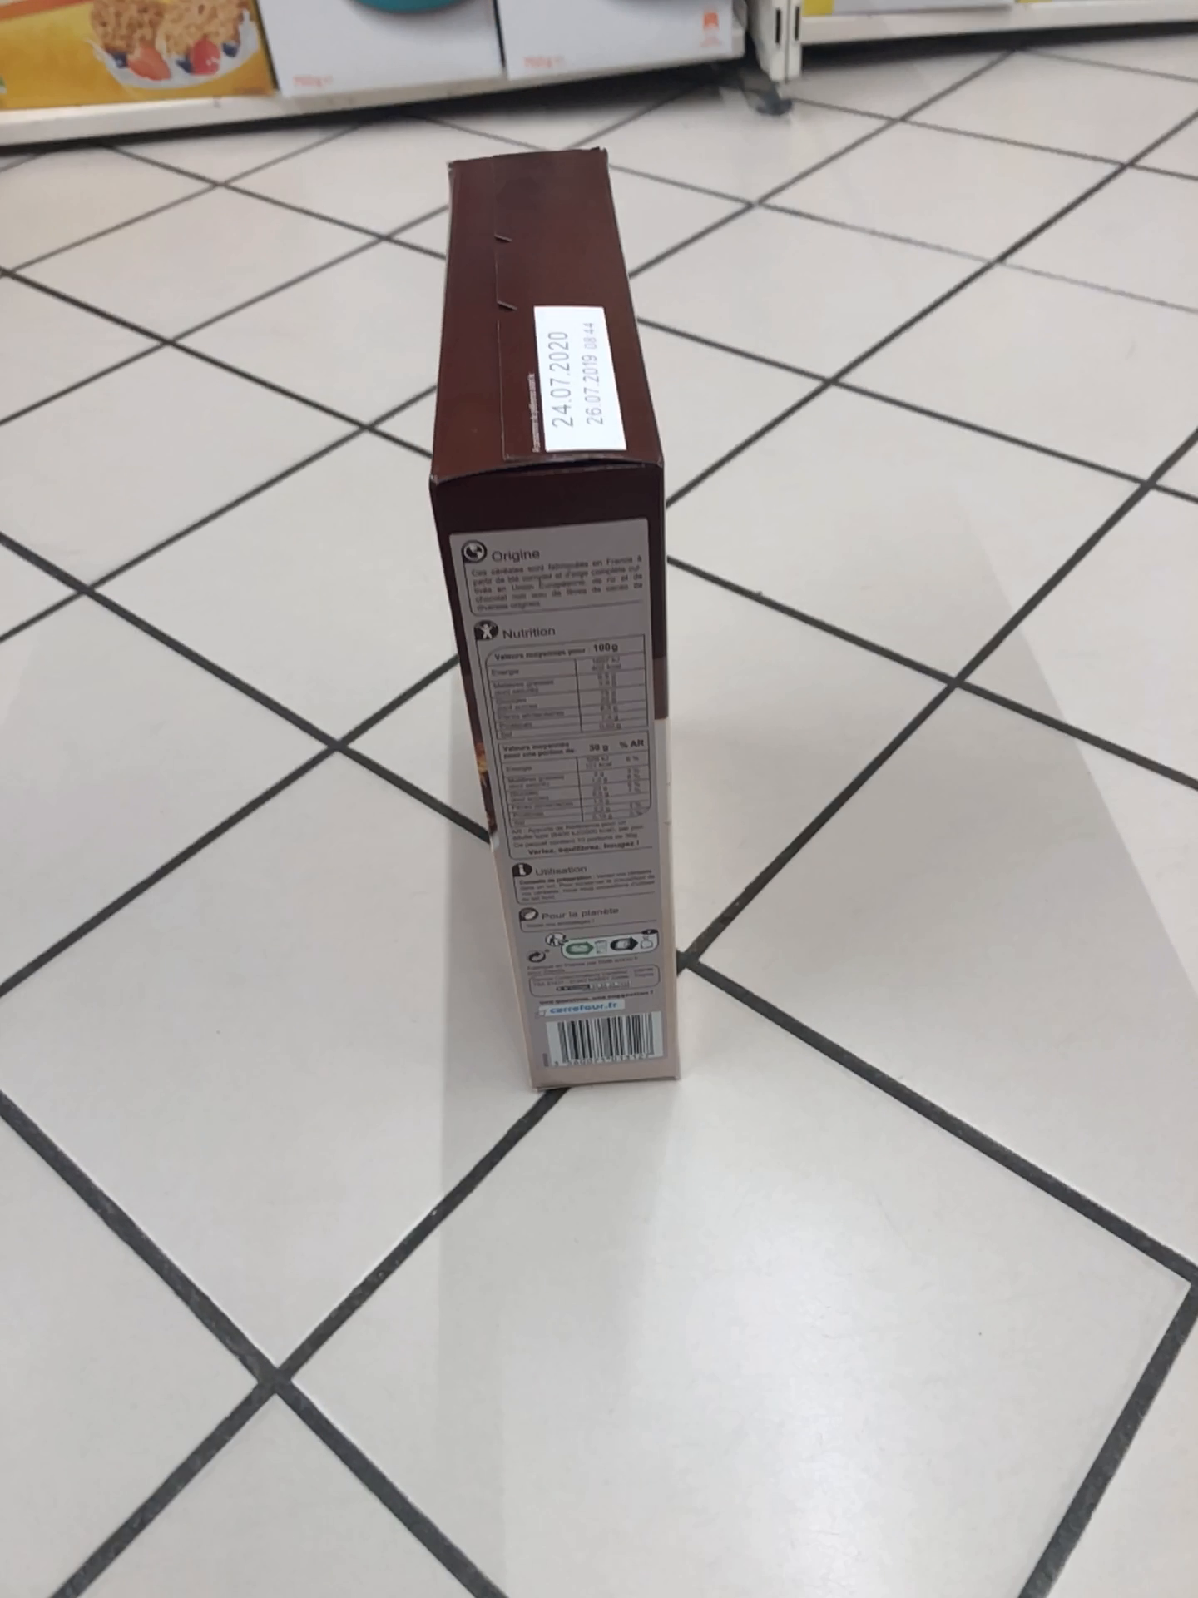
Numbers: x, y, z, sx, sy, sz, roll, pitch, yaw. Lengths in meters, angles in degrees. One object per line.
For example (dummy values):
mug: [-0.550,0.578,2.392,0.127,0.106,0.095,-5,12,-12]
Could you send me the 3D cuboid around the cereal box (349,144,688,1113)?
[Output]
cereal box: [-0.019,-0.052,0.436,0.070,0.239,0.201,-5,45,-1]
